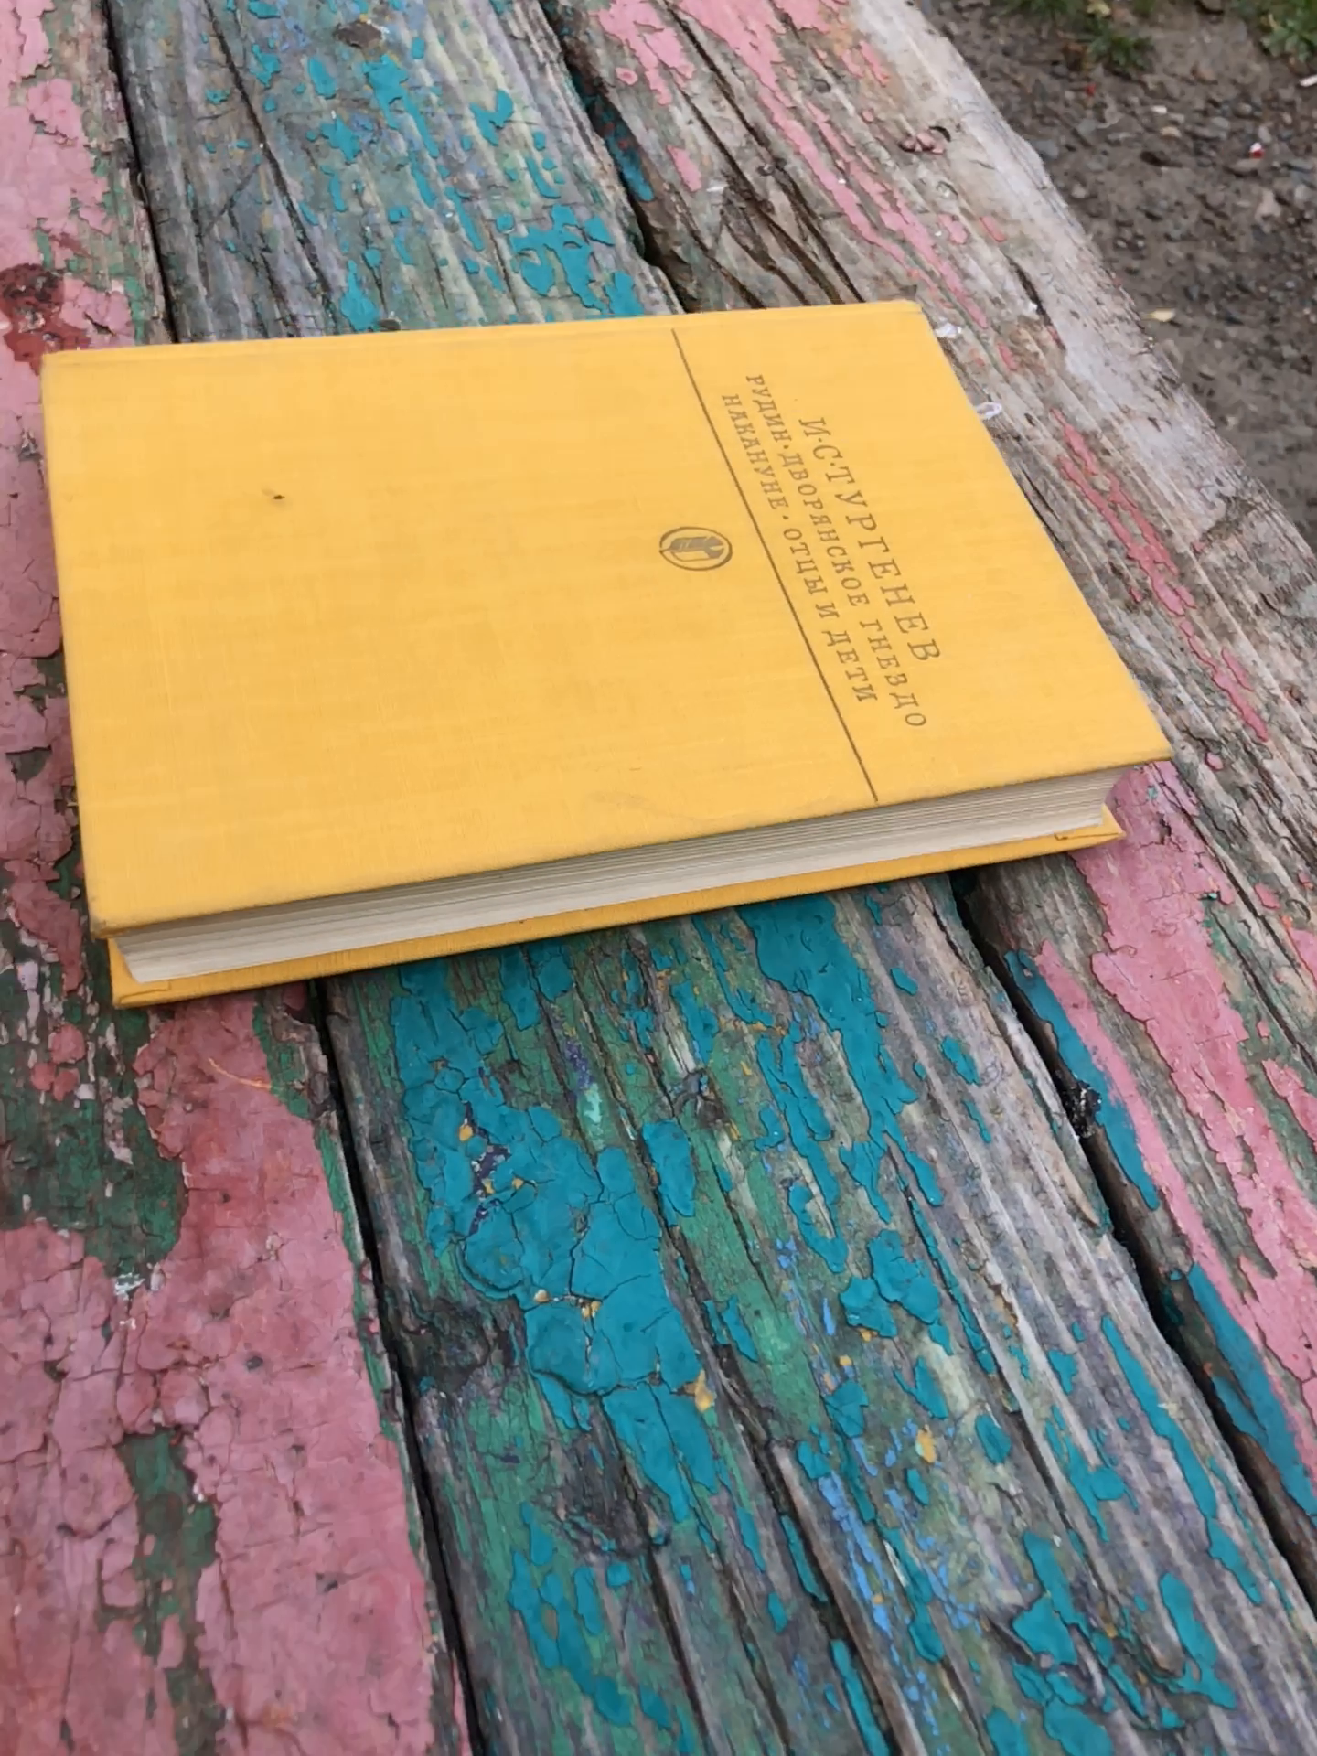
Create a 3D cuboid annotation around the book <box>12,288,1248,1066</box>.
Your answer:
[{"bbox_3d":[-0.012,-0.056,0.306,0.217,0.032,0.153,-9,59,-16],"label":"book"}]
